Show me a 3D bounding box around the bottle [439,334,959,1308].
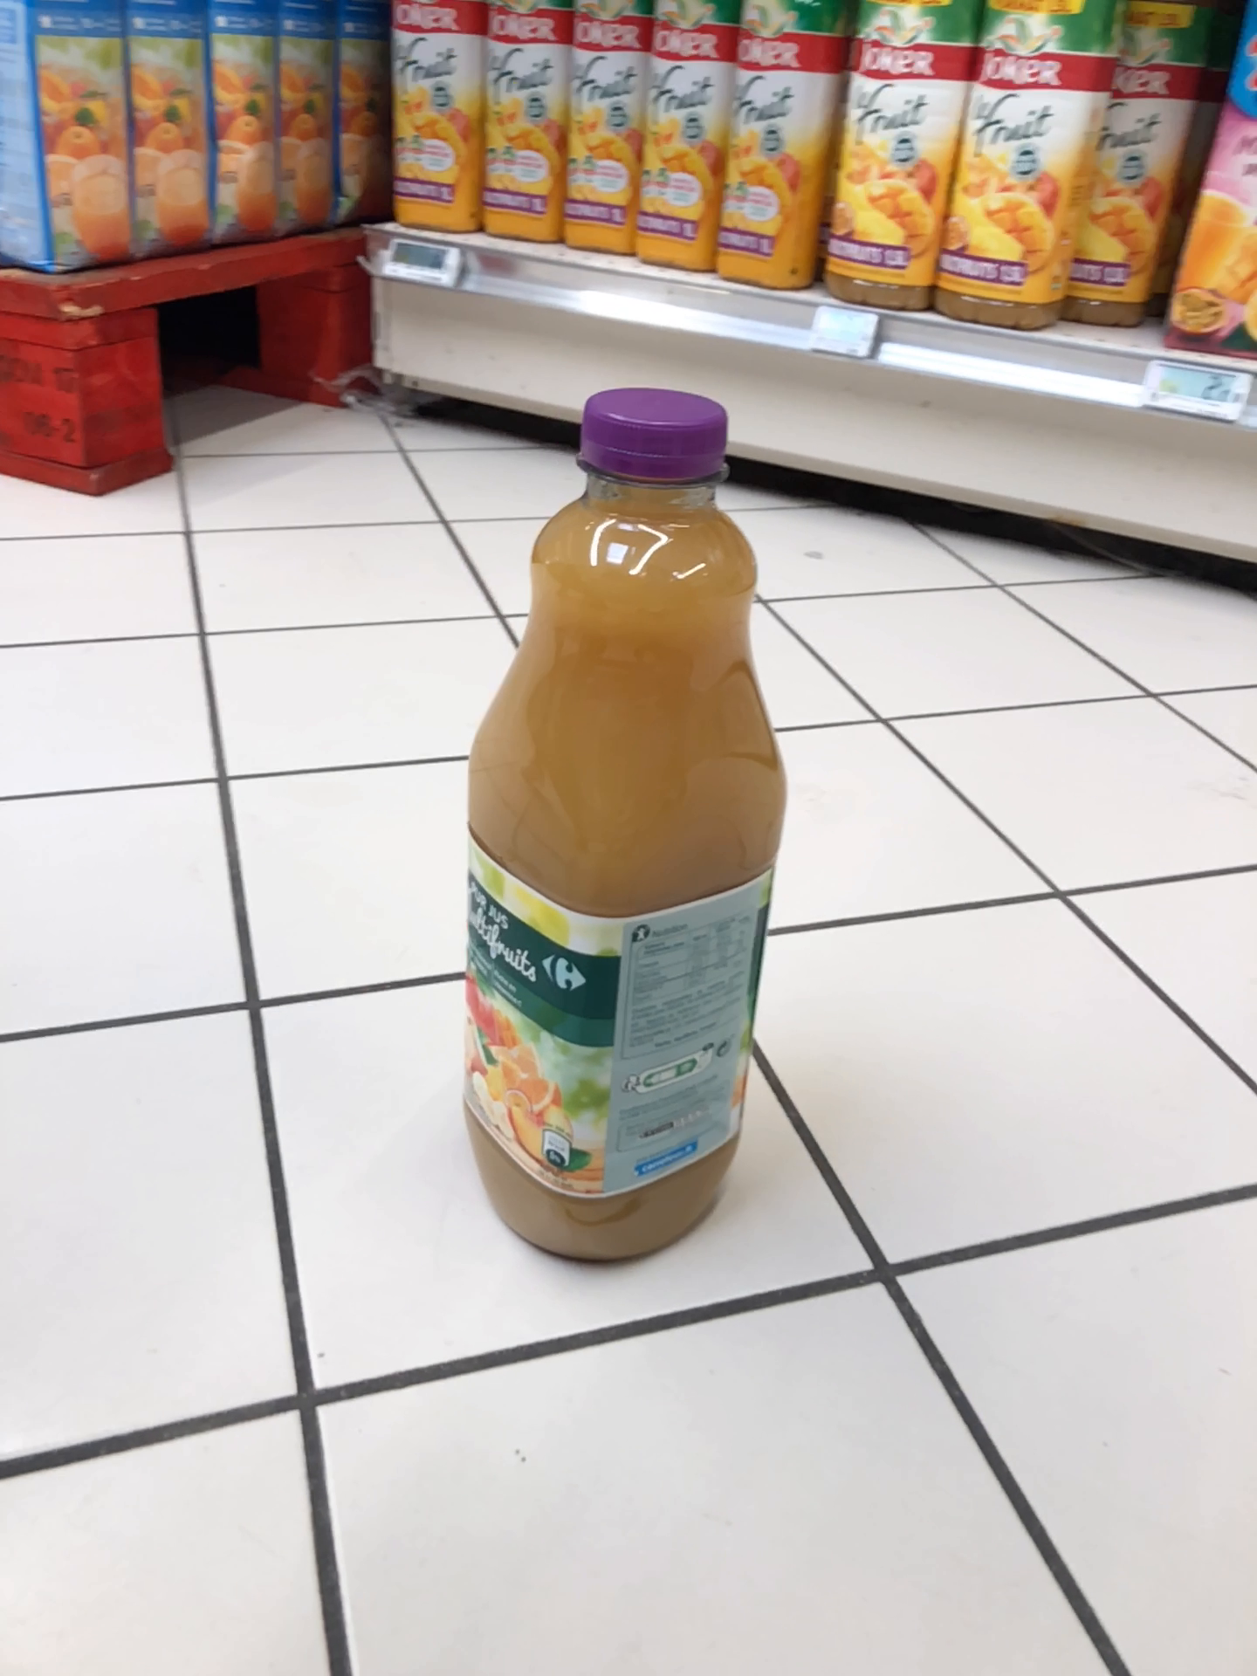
[{"bbox_3d":[0.009,-0.003,0.440,0.100,0.278,0.100,3,30,-2],"label":"bottle"}]
